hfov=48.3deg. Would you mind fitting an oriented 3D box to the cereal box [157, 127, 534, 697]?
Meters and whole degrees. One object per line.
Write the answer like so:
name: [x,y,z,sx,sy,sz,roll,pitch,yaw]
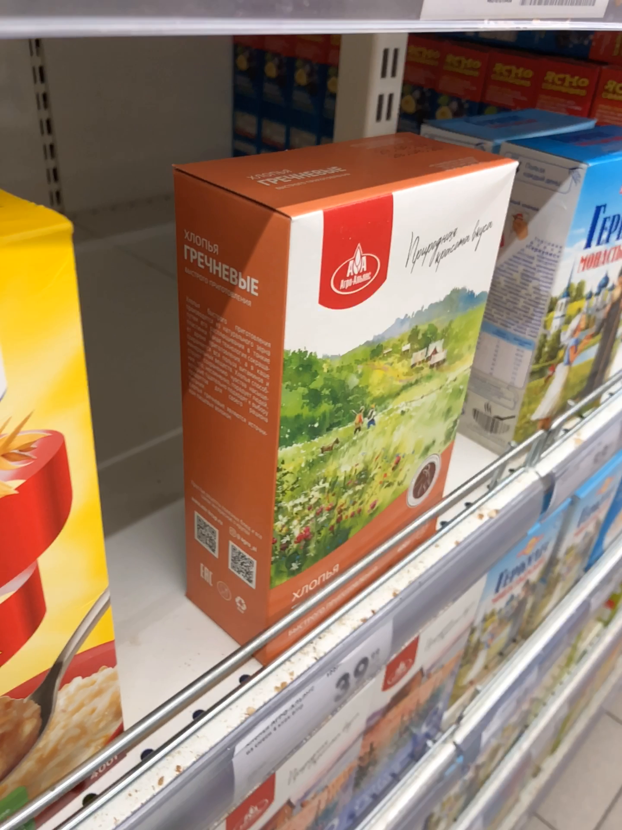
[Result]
cereal box: [0.012,-0.004,0.291,0.060,0.199,0.130,29,39,33]
